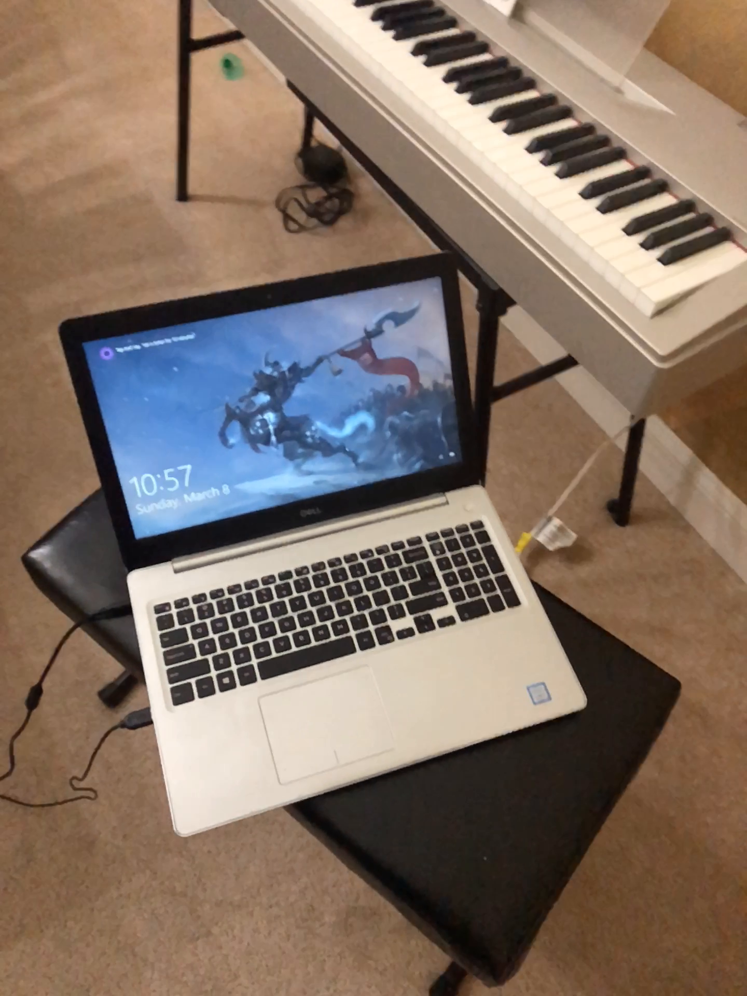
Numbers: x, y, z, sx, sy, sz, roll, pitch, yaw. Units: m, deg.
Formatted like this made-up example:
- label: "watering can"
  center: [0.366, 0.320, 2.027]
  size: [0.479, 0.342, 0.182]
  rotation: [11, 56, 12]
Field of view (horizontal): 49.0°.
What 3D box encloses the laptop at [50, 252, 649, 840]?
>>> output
- label: "laptop"
  center: [-0.045, 0.019, 0.733]
  size: [0.374, 0.184, 0.409]
  rotation: [-14, 59, -12]
